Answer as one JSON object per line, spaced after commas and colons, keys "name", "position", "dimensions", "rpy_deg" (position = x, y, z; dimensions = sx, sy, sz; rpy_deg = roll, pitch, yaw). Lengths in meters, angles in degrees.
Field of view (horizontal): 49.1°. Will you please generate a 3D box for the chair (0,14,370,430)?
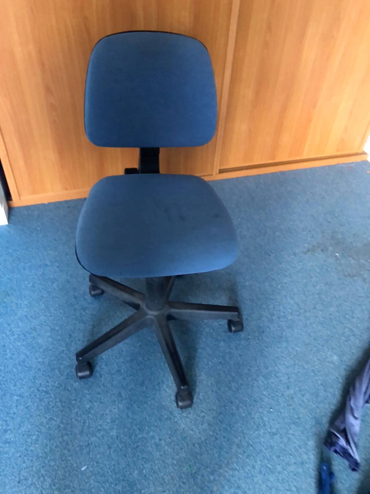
{"name": "chair", "position": [-0.075, -0.072, 1.214], "dimensions": [0.651, 0.914, 0.764], "rpy_deg": [-3, 44, -8]}
